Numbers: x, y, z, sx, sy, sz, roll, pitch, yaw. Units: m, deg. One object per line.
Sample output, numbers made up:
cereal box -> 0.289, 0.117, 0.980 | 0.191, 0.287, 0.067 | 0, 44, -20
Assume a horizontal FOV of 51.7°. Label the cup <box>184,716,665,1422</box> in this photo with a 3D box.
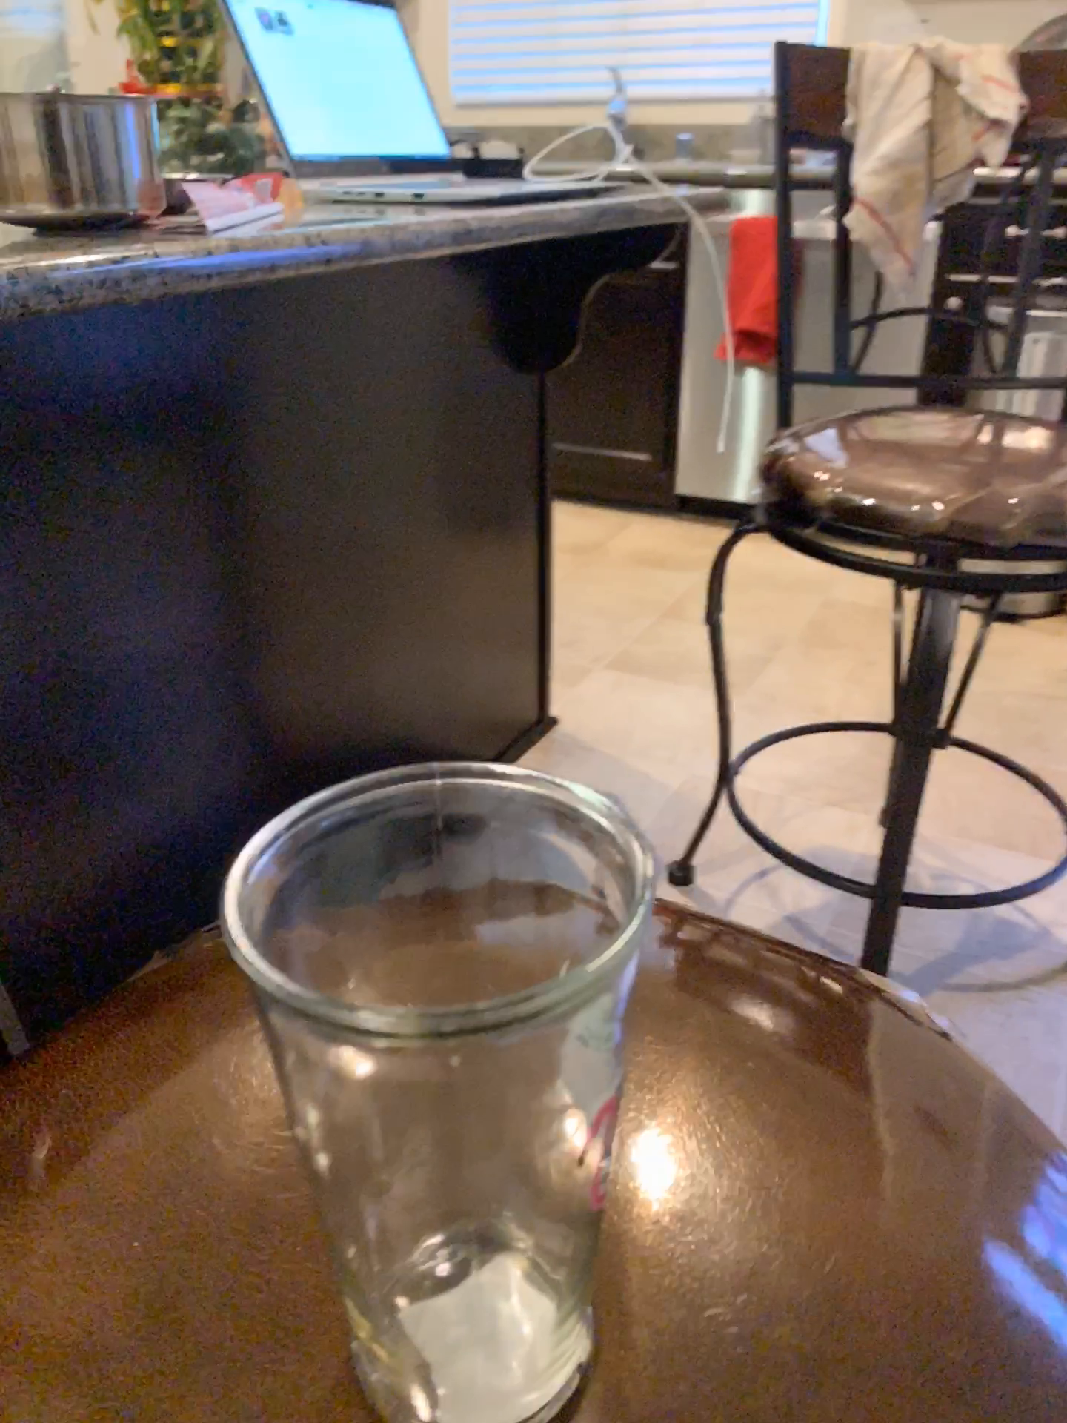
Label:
cup -> -0.017, 0.087, 0.252 | 0.080, 0.149, 0.081 | 0, 27, 0
